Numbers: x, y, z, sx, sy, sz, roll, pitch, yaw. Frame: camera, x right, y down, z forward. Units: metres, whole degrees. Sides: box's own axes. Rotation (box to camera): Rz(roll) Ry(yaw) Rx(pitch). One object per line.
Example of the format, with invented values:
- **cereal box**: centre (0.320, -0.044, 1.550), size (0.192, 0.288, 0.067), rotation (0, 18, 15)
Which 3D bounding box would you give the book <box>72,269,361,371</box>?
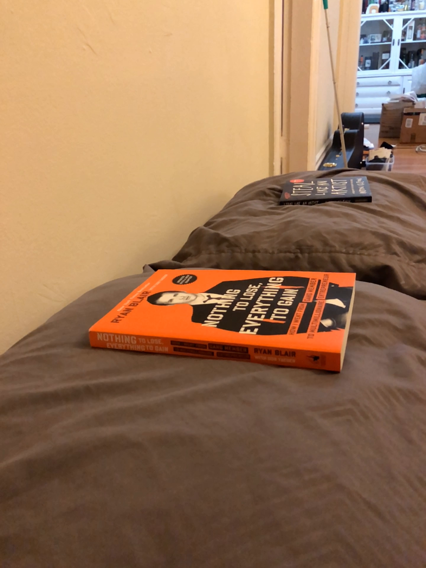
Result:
- **book**: centre (0.012, 0.022, 0.434), size (0.230, 0.020, 0.151), rotation (2, 21, 20)
